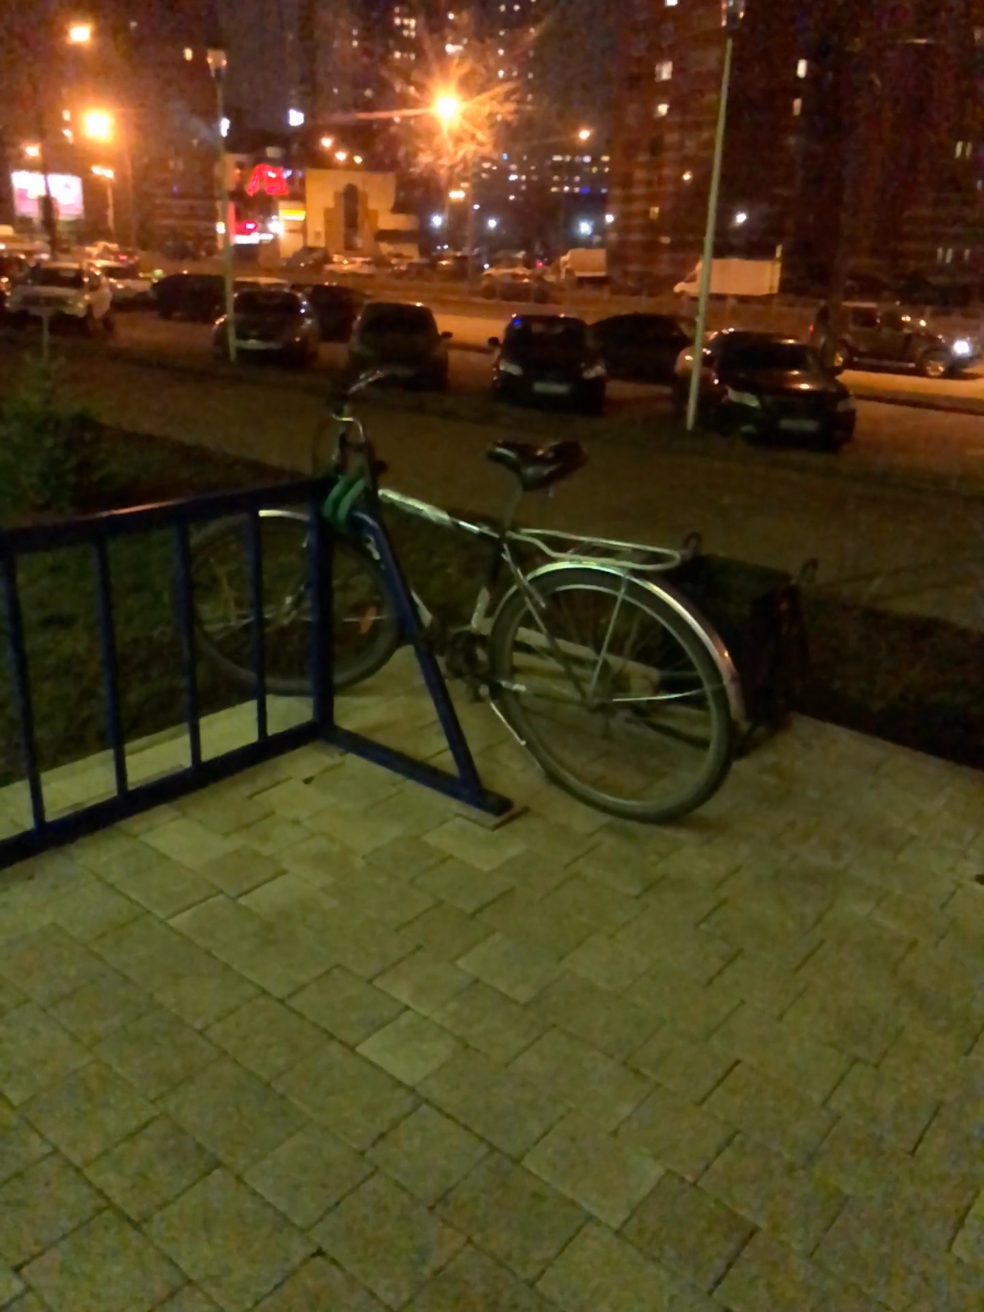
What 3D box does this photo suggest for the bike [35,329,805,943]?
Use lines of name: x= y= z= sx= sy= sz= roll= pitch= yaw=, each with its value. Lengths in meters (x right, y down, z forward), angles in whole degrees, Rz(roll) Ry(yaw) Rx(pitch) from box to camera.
bike: x=-0.228 y=-0.179 z=2.778 sx=1.719 sy=1.047 sz=0.681 roll=16 pitch=24 yaw=26
